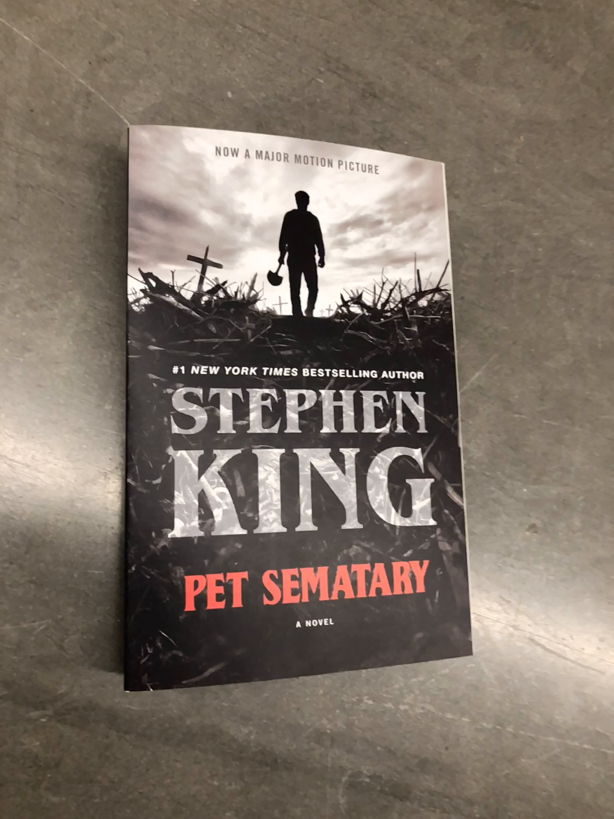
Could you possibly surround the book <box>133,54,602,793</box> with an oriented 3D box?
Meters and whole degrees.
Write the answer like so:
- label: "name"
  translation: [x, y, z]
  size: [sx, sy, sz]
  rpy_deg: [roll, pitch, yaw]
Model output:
- label: "book"
  translation: [0.021, 0.001, 0.253]
  size: [0.160, 0.050, 0.220]
  rpy_deg: [0, 85, -21]
